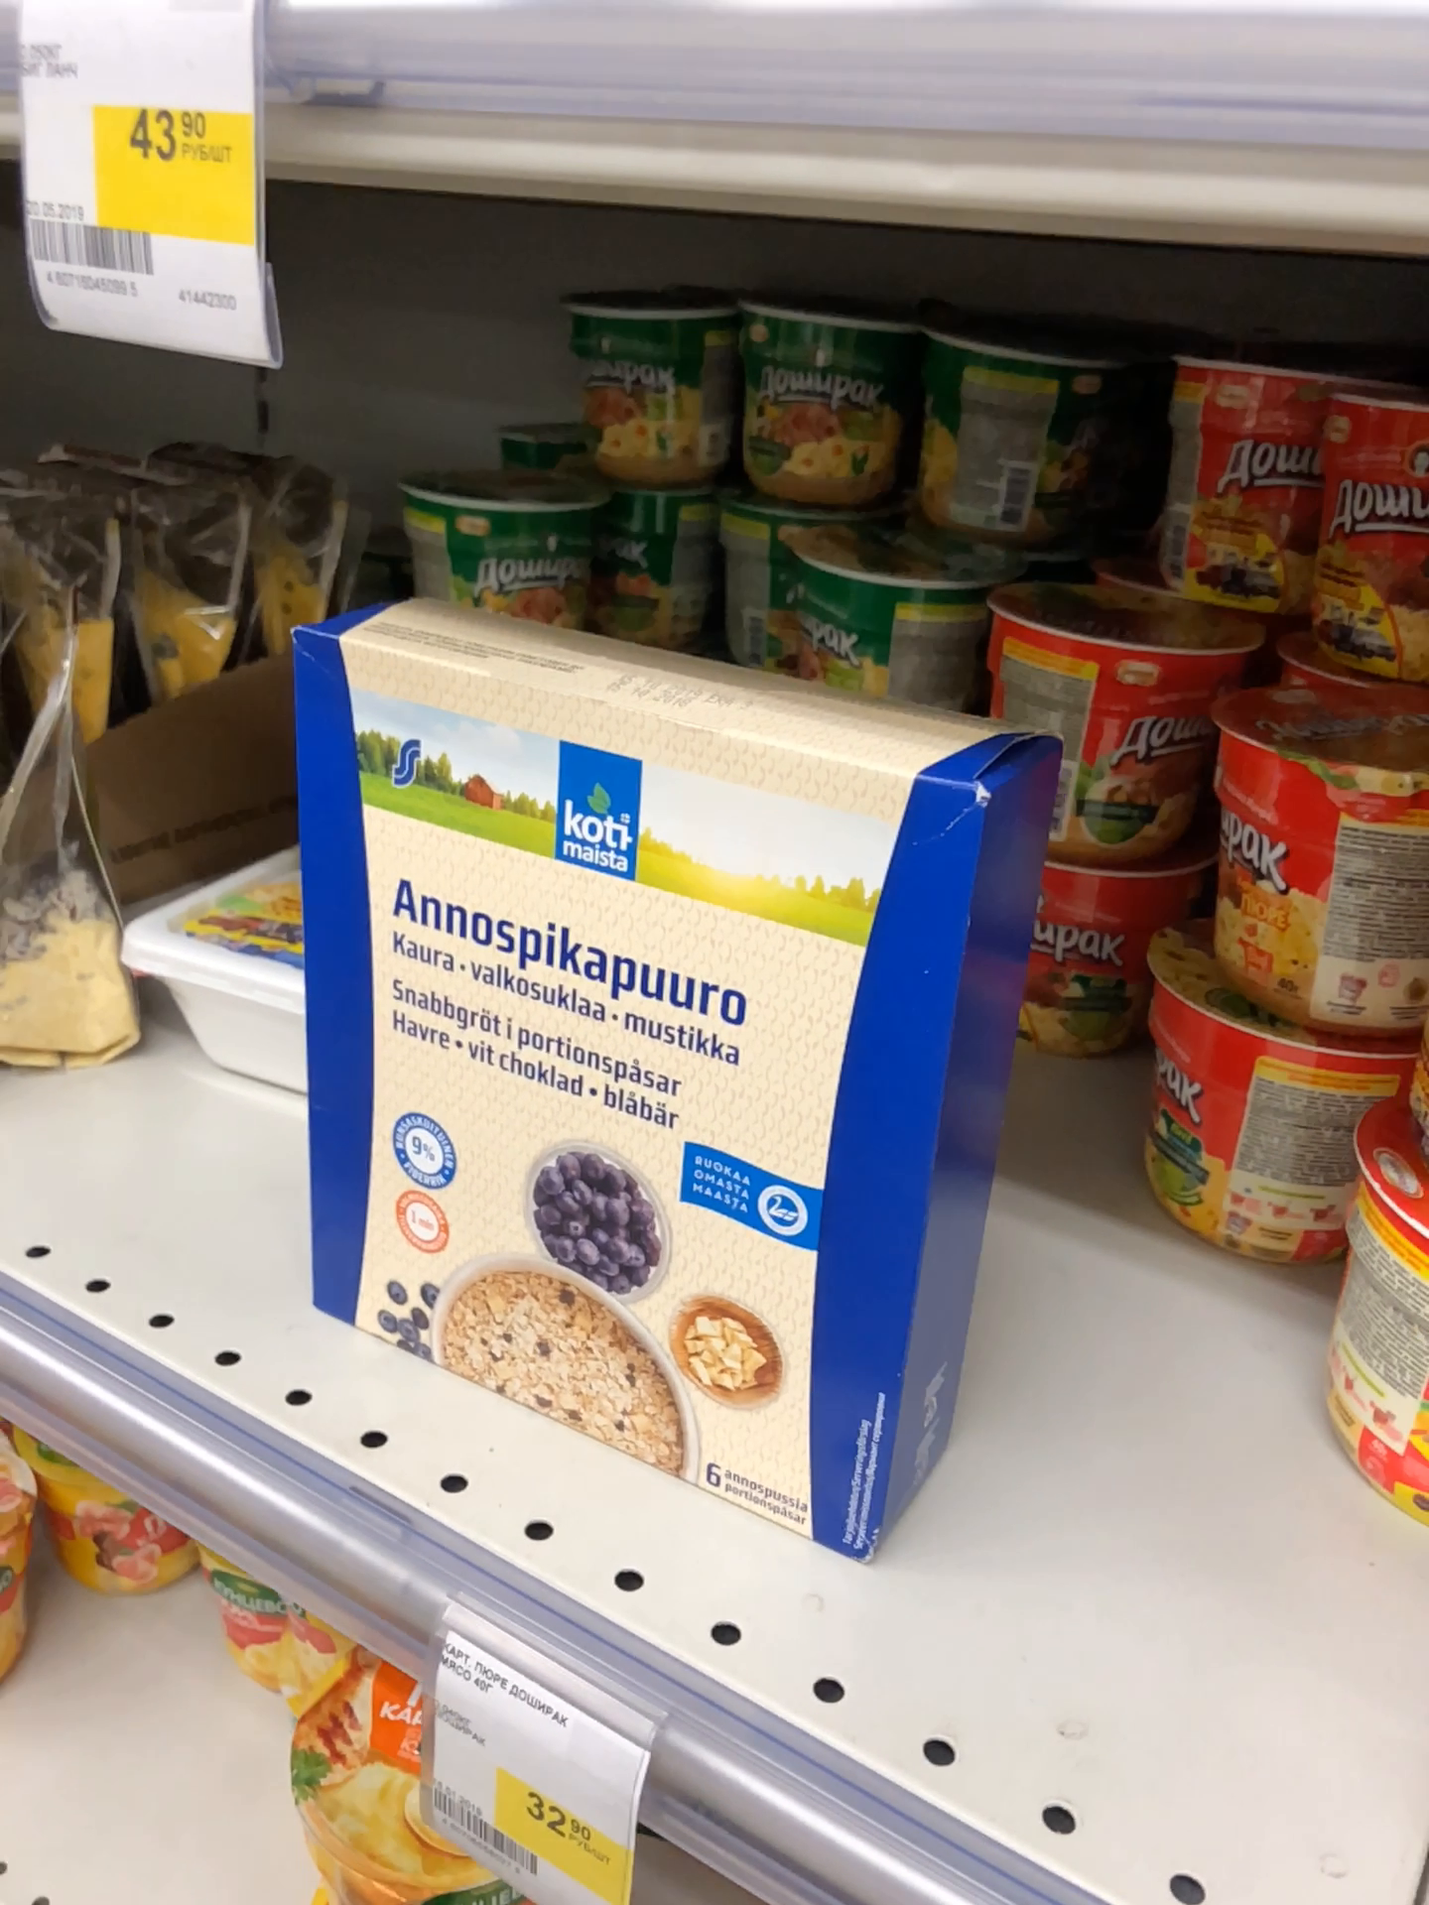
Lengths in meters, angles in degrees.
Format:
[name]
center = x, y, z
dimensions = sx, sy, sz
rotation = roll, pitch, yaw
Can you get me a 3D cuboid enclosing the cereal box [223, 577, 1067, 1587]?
[cereal box]
center = -0.024, 0.022, 0.355
dimensions = 0.170, 0.179, 0.050
rotation = 16, 27, 26
